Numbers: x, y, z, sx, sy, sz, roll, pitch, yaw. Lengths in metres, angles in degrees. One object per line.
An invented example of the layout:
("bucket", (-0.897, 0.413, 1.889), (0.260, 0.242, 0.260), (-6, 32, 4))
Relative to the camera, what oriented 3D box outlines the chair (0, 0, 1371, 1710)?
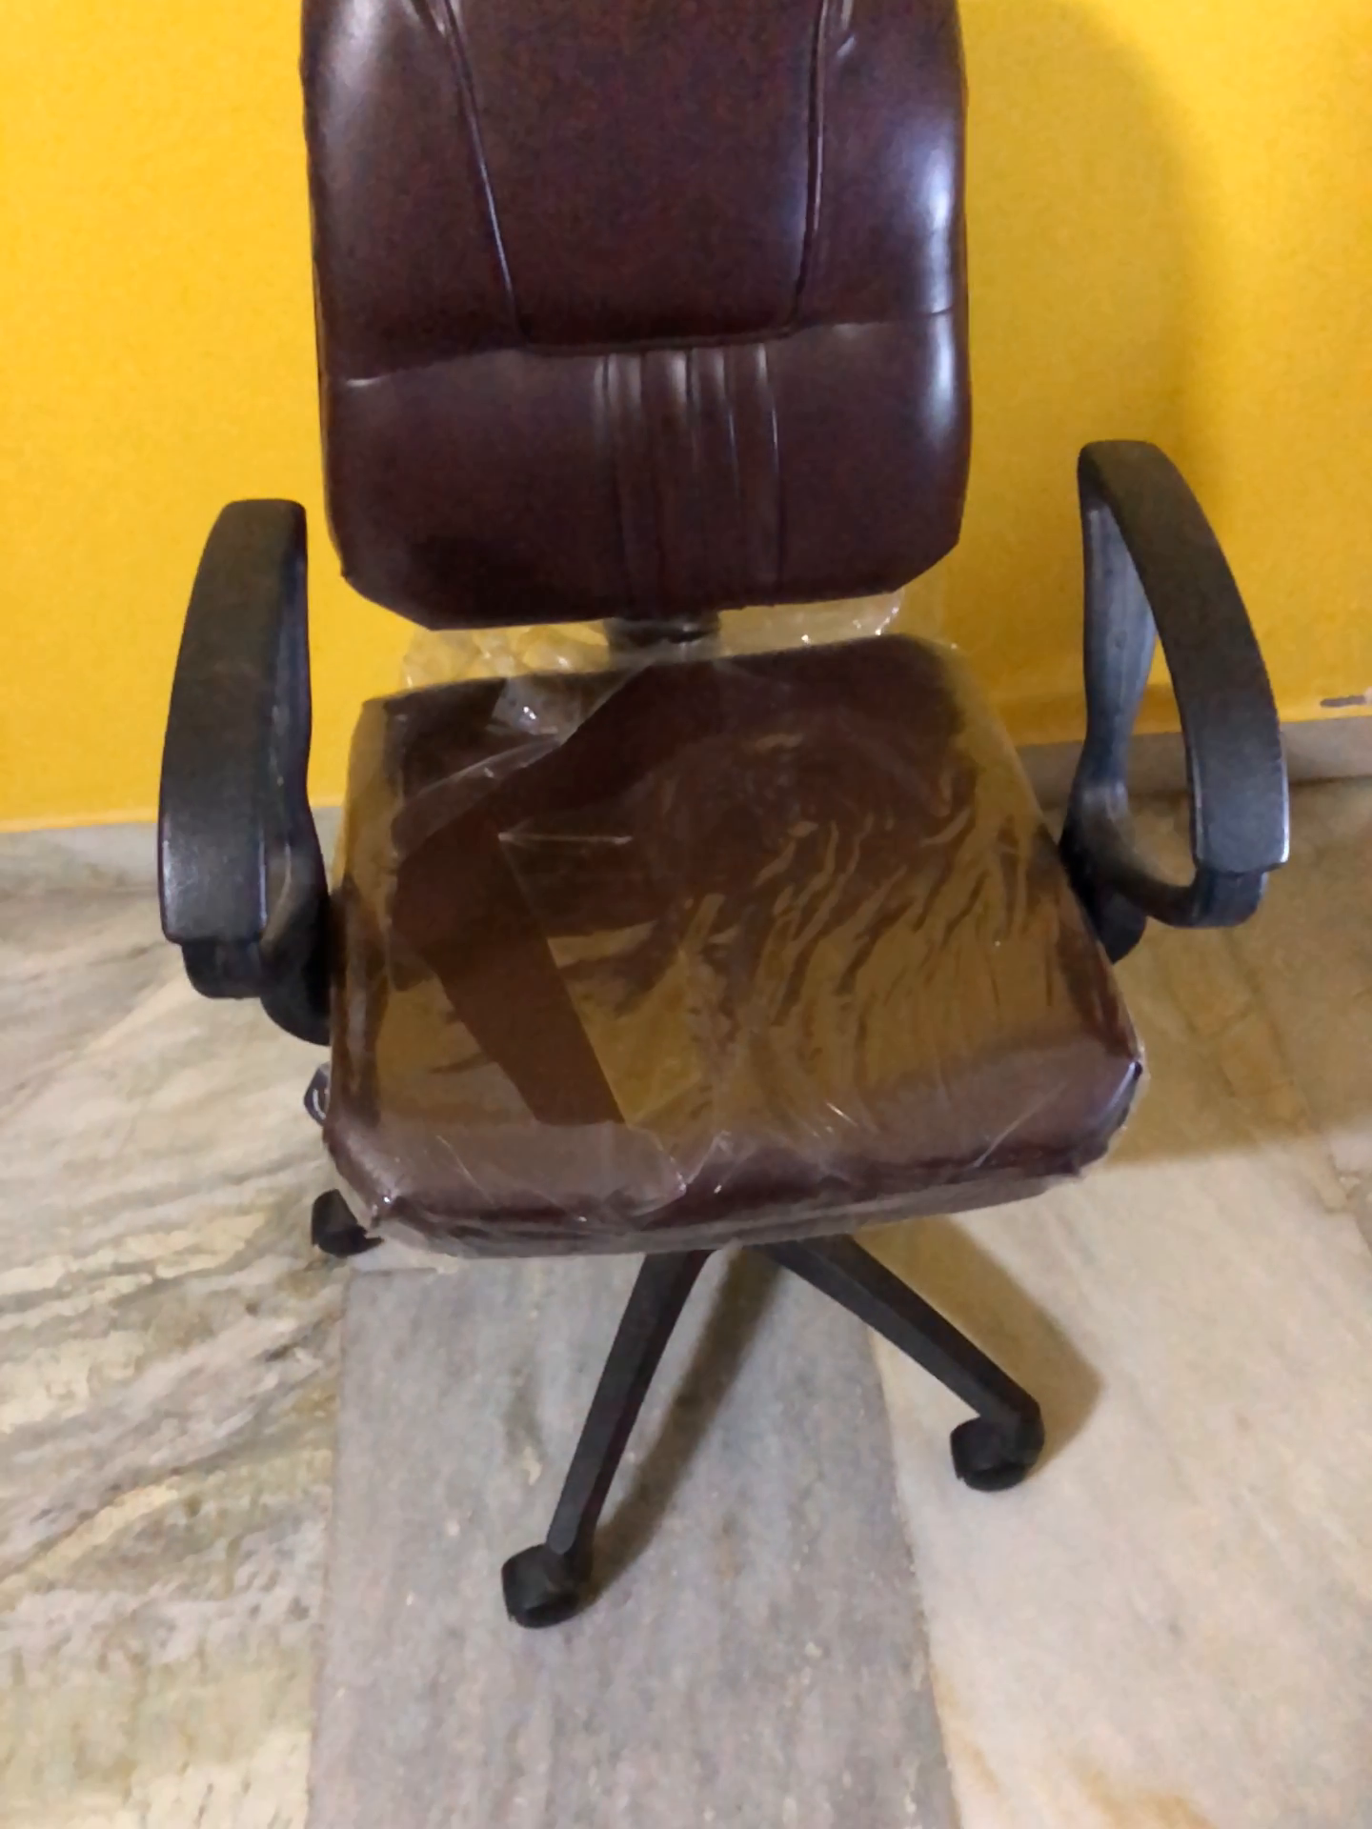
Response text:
("chair", (0.002, -0.064, 0.965), (0.690, 0.973, 0.684), (-8, 48, -5))
